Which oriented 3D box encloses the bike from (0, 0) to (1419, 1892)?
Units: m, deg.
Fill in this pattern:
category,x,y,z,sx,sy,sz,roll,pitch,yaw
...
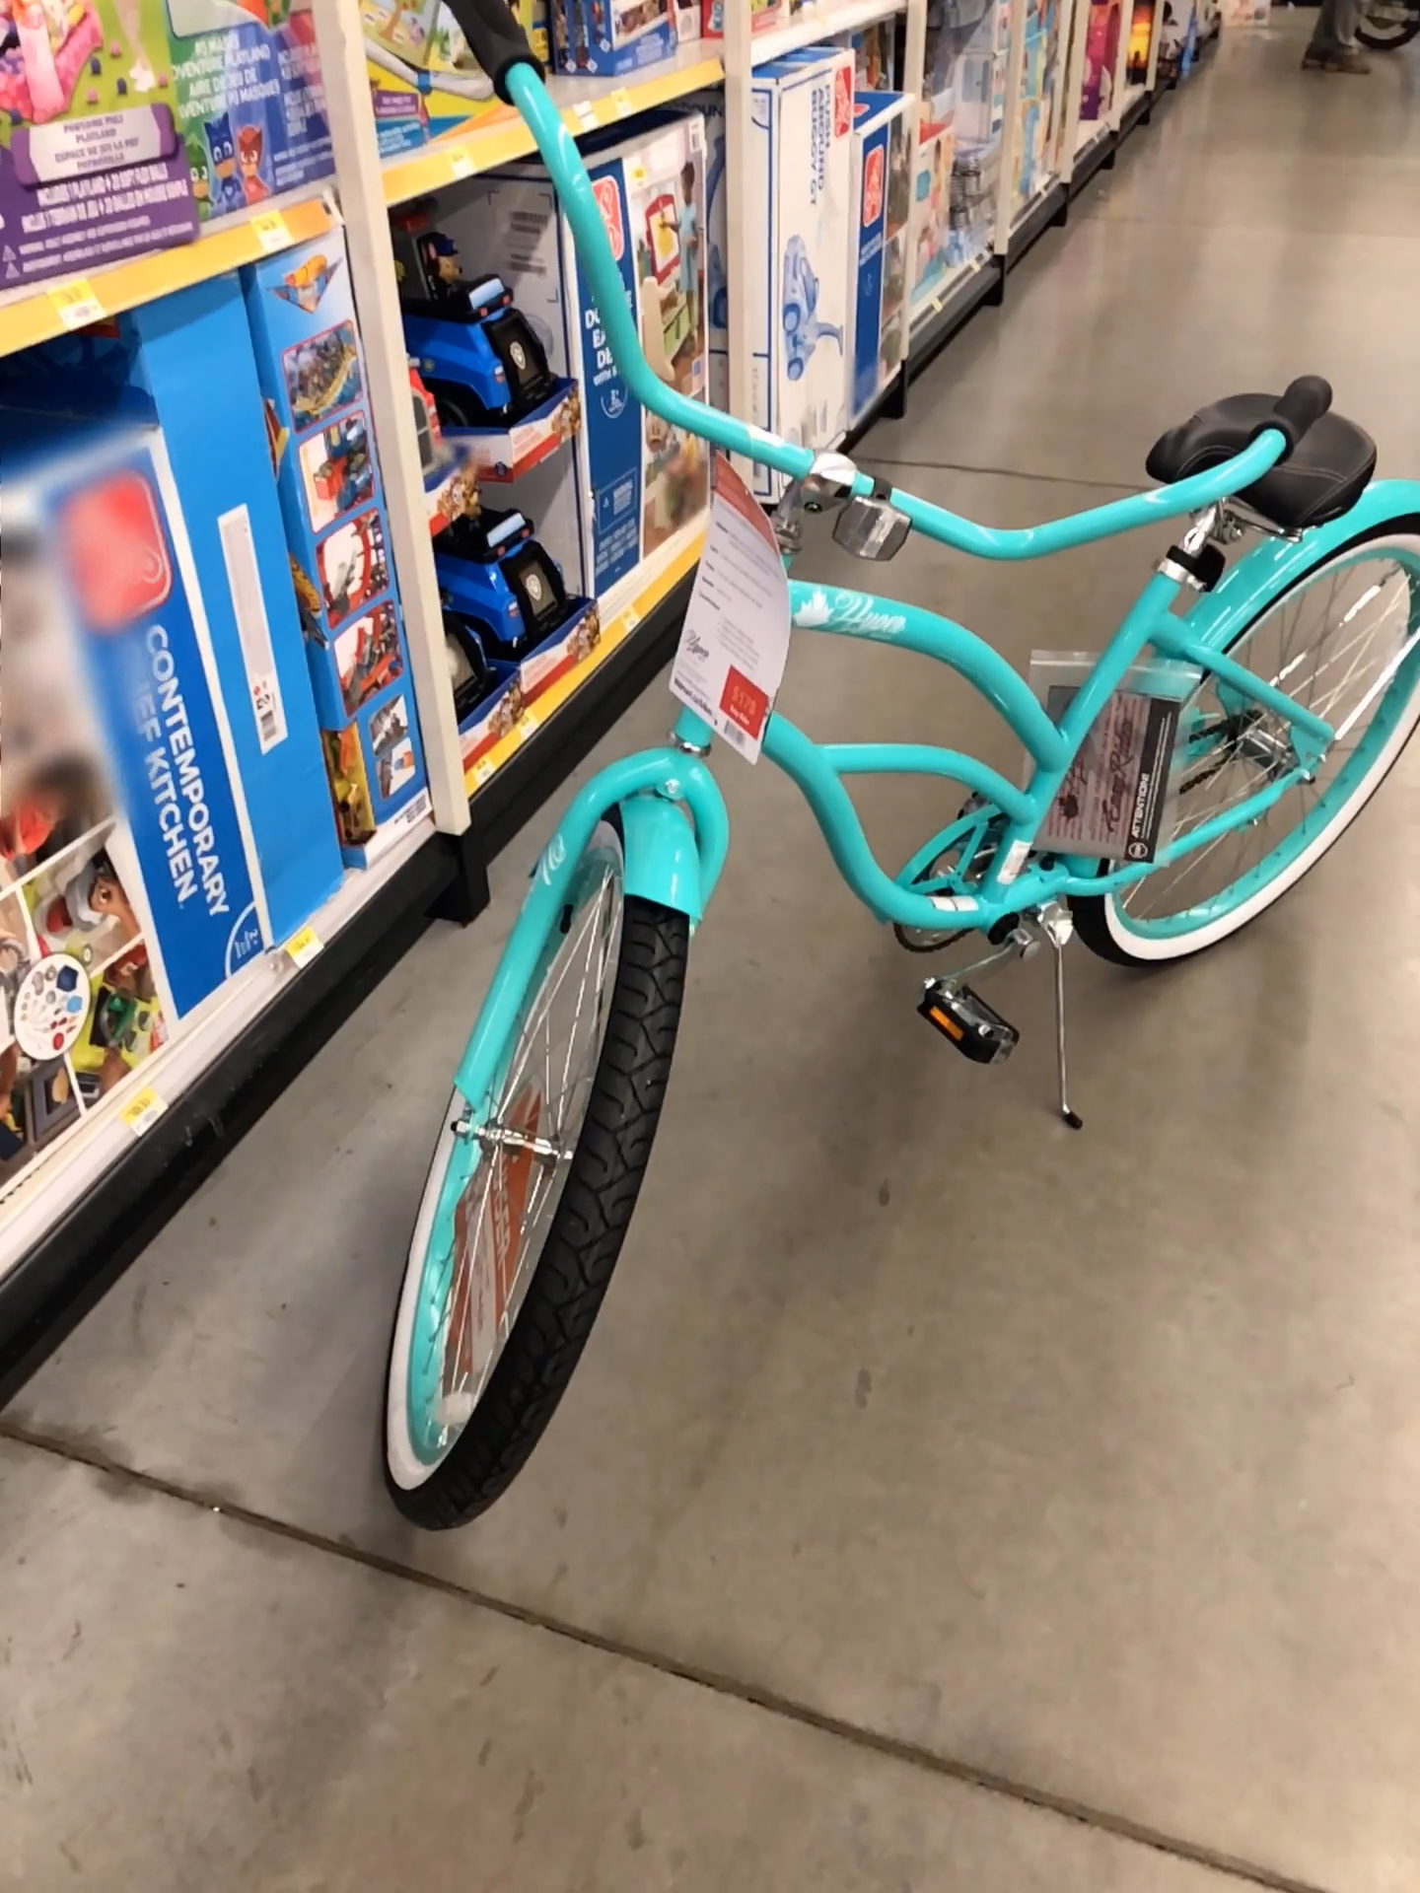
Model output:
category,x,y,z,sx,sy,sz,roll,pitch,yaw
bike,0.329,-0.142,1.406,0.760,1.143,1.496,30,50,36
